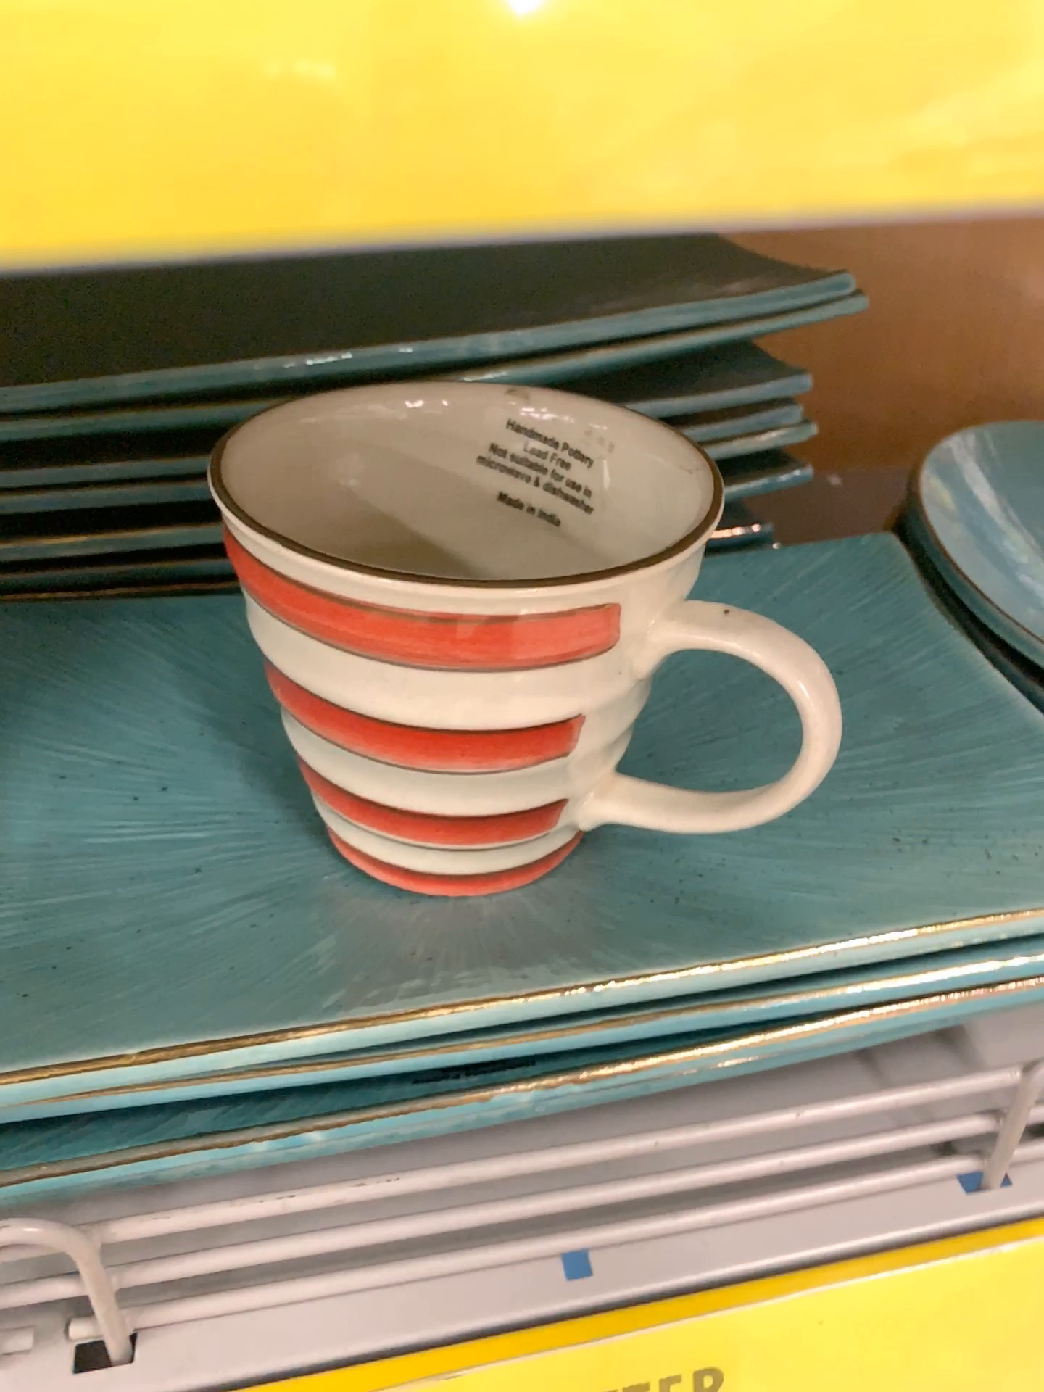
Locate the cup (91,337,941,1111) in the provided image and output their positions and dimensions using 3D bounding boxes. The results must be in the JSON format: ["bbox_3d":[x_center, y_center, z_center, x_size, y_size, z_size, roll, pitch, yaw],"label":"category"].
[{"bbox_3d":[-0.001,-0.007,0.235,0.130,0.090,0.100,23,39,25],"label":"cup"}]
